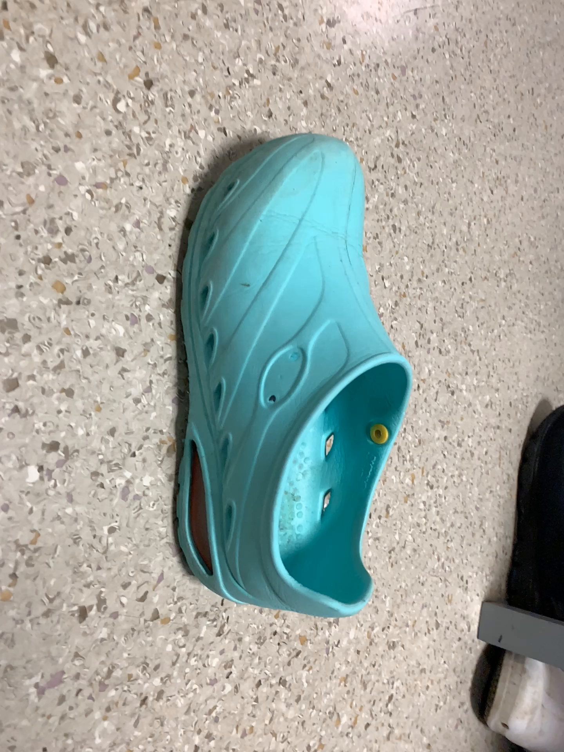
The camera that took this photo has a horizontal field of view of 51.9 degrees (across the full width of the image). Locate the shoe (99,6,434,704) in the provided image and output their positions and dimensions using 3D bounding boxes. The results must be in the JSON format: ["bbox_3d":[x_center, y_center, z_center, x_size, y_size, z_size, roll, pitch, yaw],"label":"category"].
[{"bbox_3d":[-0.005,-0.009,0.301,0.106,0.105,0.275,8,86,-47],"label":"shoe"}]
